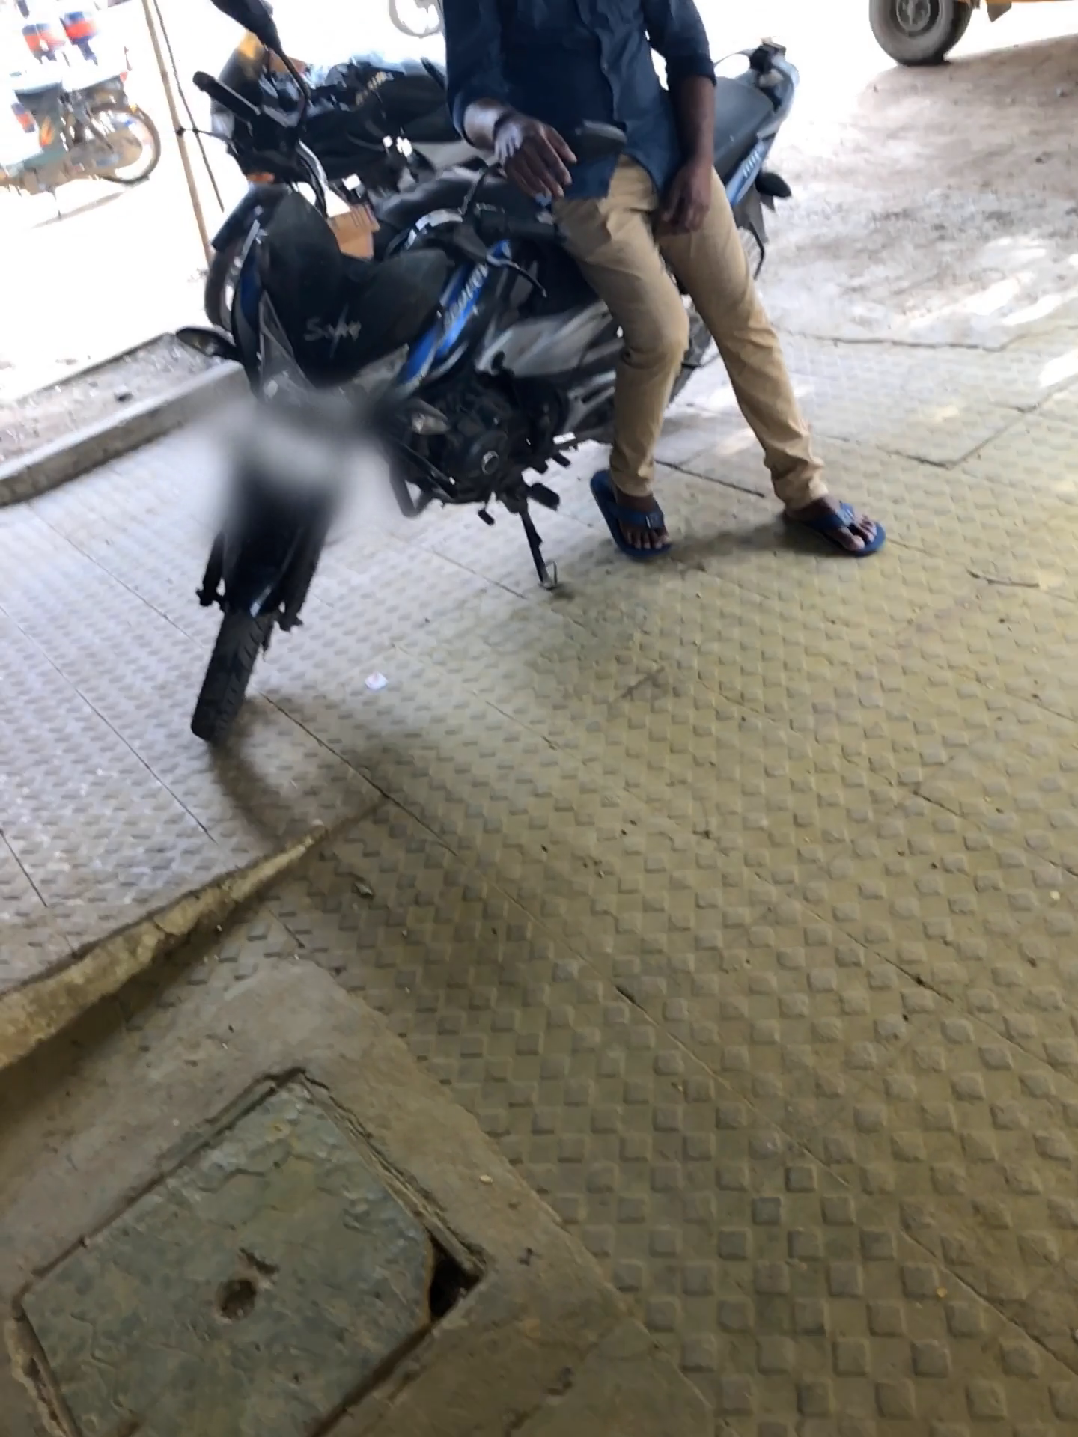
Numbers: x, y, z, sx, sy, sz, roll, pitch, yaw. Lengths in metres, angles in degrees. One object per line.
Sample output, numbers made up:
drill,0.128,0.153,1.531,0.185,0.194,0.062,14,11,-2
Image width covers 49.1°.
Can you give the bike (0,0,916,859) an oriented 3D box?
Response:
bike,-0.020,-0.824,2.404,0.784,1.175,1.752,18,50,37
